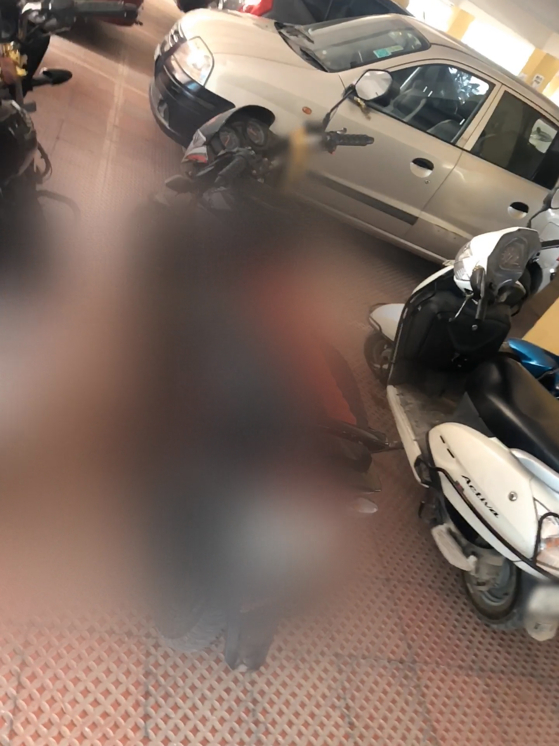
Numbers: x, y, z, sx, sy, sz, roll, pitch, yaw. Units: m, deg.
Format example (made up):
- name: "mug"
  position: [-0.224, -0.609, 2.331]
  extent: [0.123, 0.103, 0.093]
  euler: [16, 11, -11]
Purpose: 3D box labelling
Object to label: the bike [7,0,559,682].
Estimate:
- name: "bike"
  position: [-0.226, -0.191, 1.693]
  extent: [0.748, 1.010, 1.558]
  euler: [12, 38, -31]
